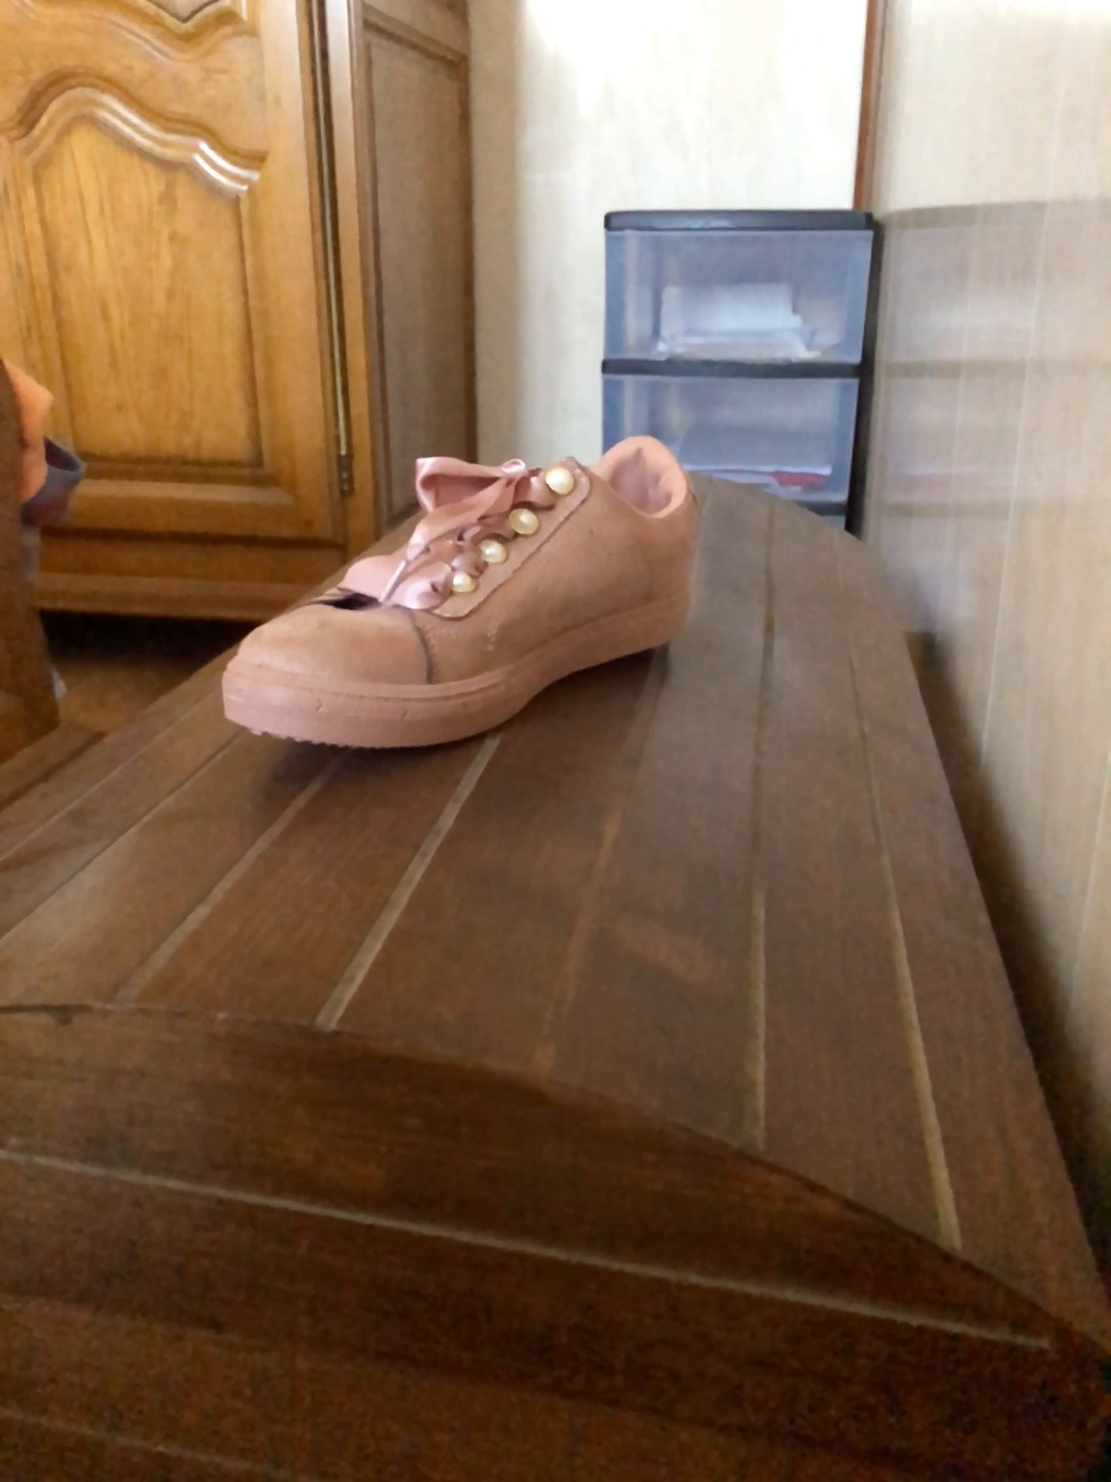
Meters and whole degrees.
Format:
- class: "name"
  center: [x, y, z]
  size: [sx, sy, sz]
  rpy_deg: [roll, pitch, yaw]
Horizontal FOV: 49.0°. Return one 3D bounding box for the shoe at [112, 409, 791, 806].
- class: "shoe"
  center: [-0.022, -0.075, 0.509]
  size: [0.110, 0.090, 0.282]
  rpy_deg: [16, 27, 36]
